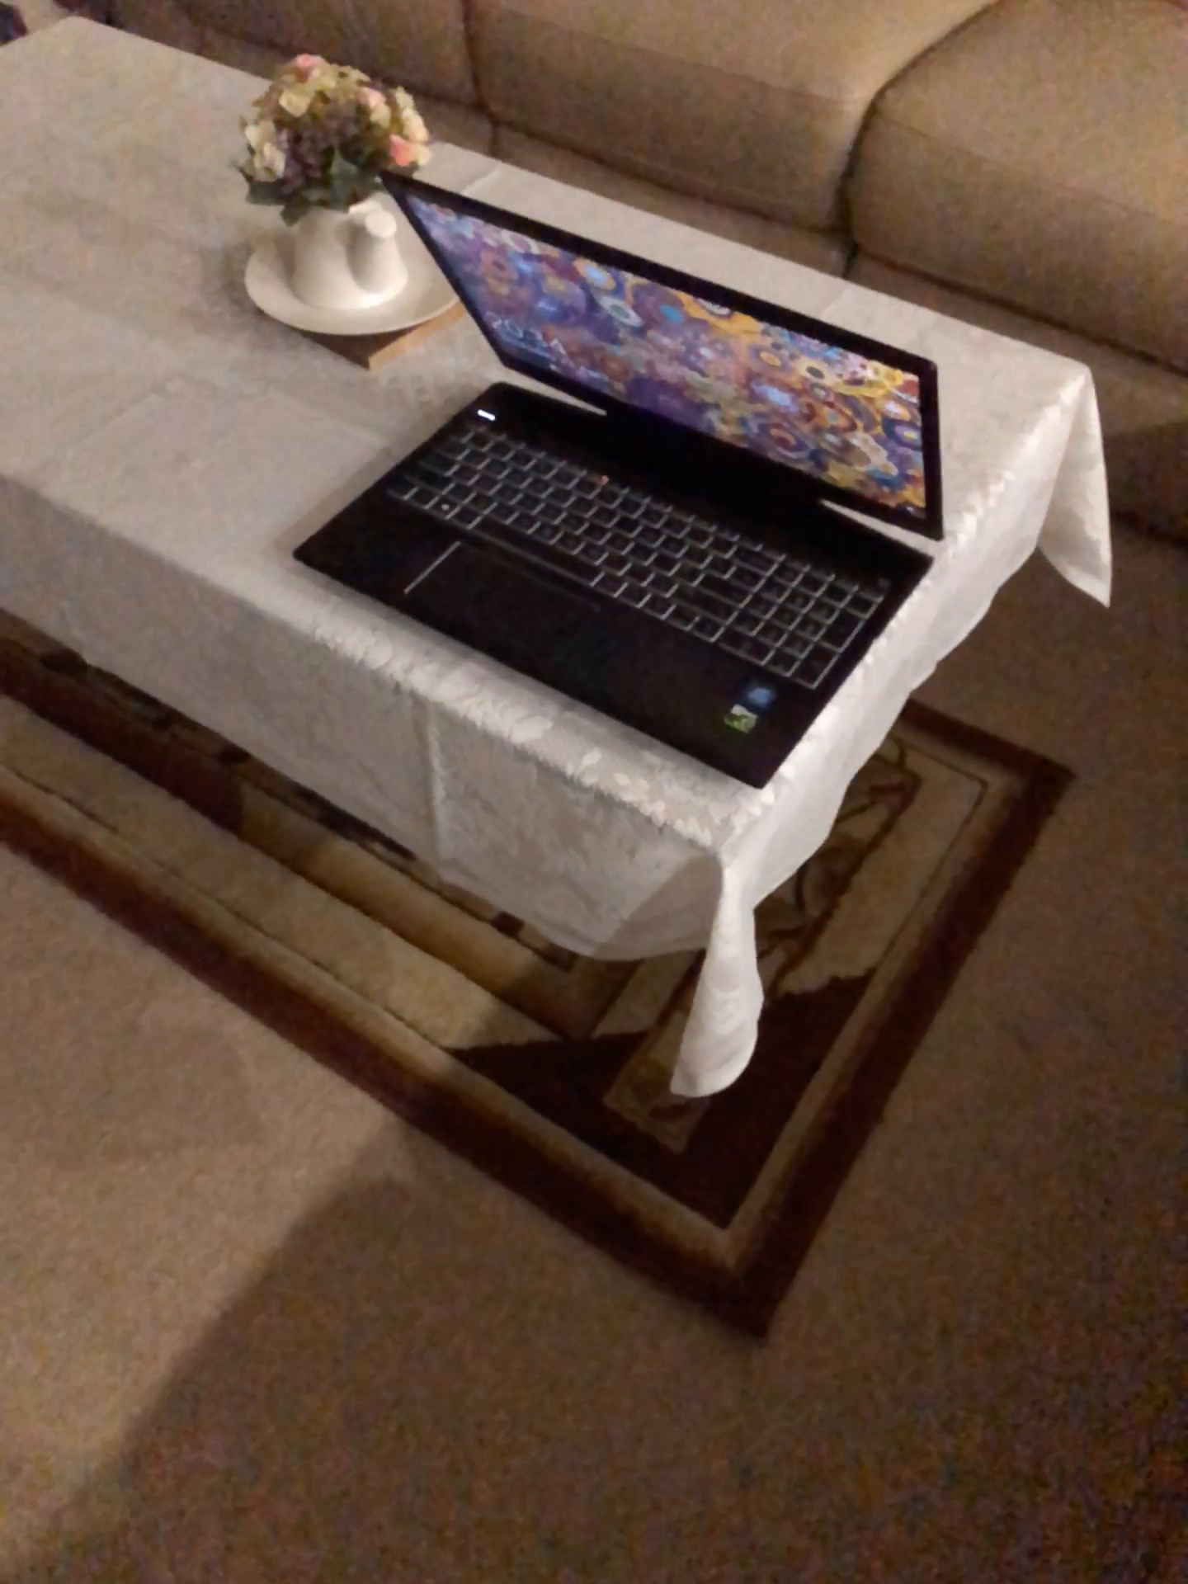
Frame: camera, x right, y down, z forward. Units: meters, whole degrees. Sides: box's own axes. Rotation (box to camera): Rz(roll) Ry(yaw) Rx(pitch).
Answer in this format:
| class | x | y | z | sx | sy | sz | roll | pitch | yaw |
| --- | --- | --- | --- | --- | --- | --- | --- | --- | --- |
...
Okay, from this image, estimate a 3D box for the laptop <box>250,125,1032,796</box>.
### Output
| class | x | y | z | sx | sy | sz | roll | pitch | yaw |
| --- | --- | --- | --- | --- | --- | --- | --- | --- | --- |
| laptop | 0.025 | -0.216 | 0.798 | 0.355 | 0.199 | 0.243 | 28 | 55 | 20 |
